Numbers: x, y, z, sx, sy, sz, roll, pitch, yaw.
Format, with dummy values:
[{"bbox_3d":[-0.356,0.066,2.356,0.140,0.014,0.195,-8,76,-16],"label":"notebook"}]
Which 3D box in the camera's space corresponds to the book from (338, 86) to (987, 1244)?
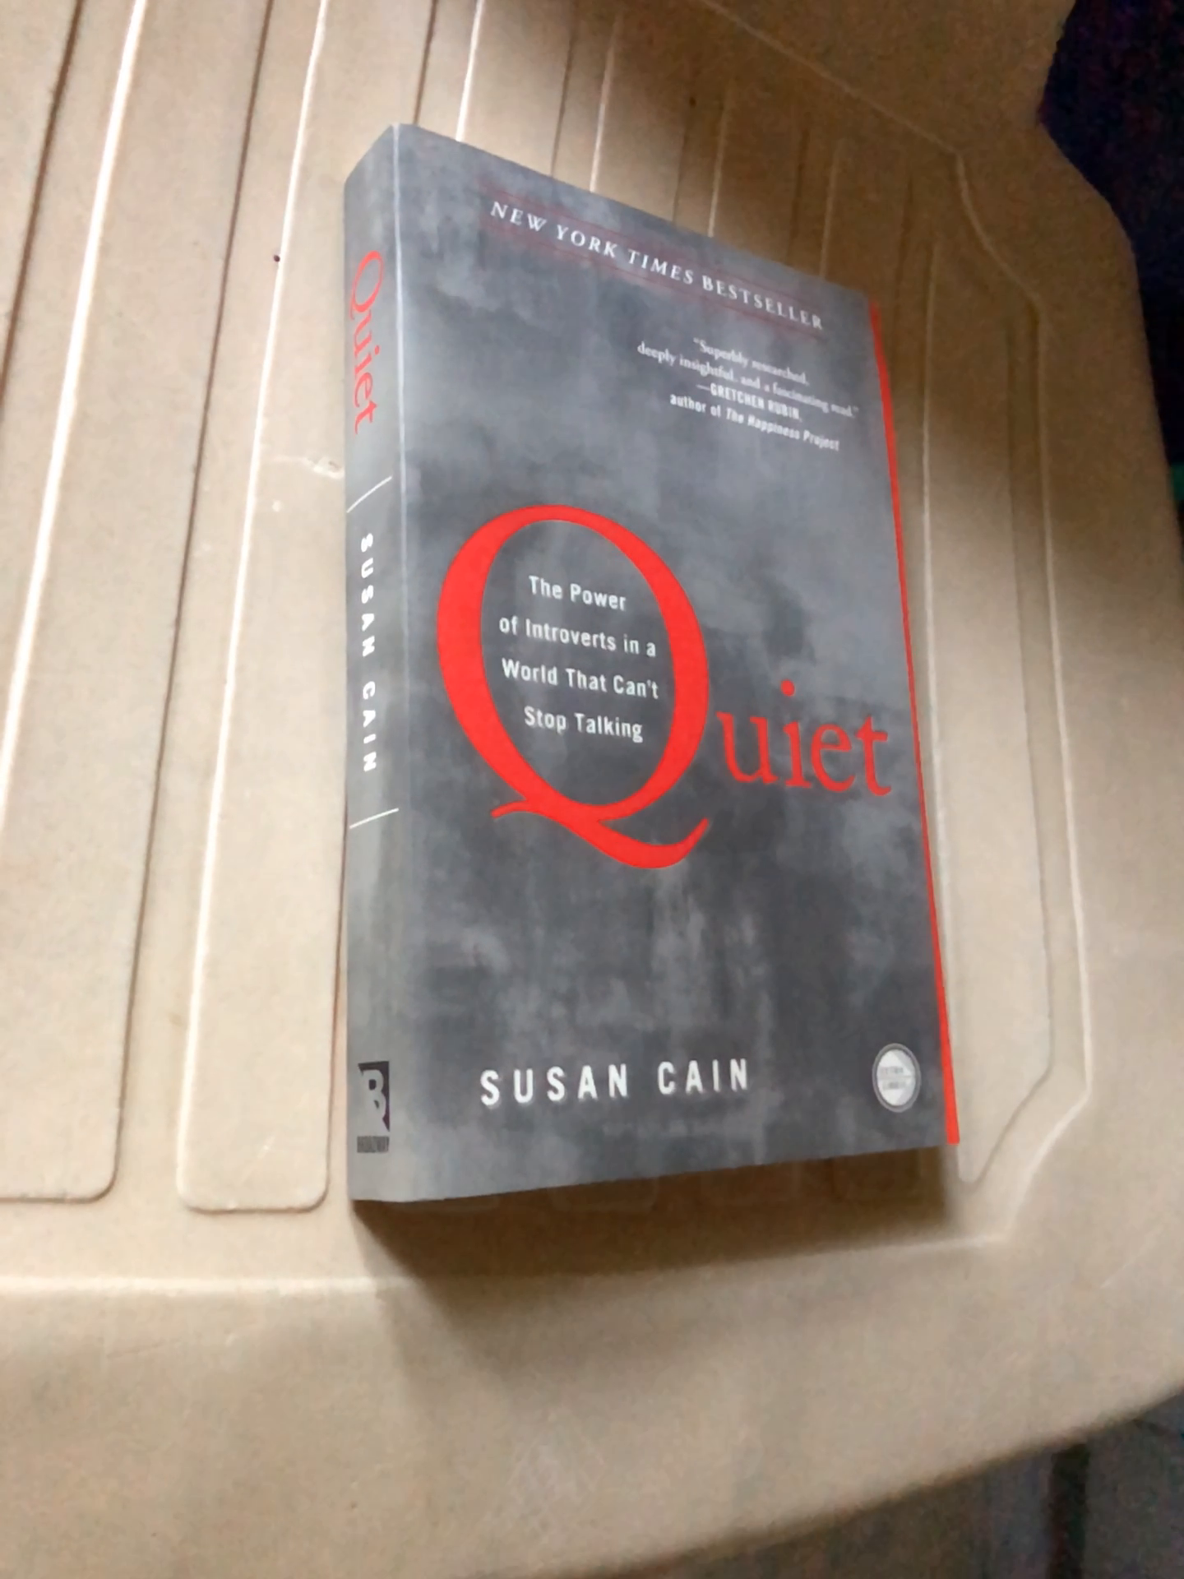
[{"bbox_3d":[0.016,-0.021,0.268,0.131,0.030,0.200,6,76,-34],"label":"book"}]
